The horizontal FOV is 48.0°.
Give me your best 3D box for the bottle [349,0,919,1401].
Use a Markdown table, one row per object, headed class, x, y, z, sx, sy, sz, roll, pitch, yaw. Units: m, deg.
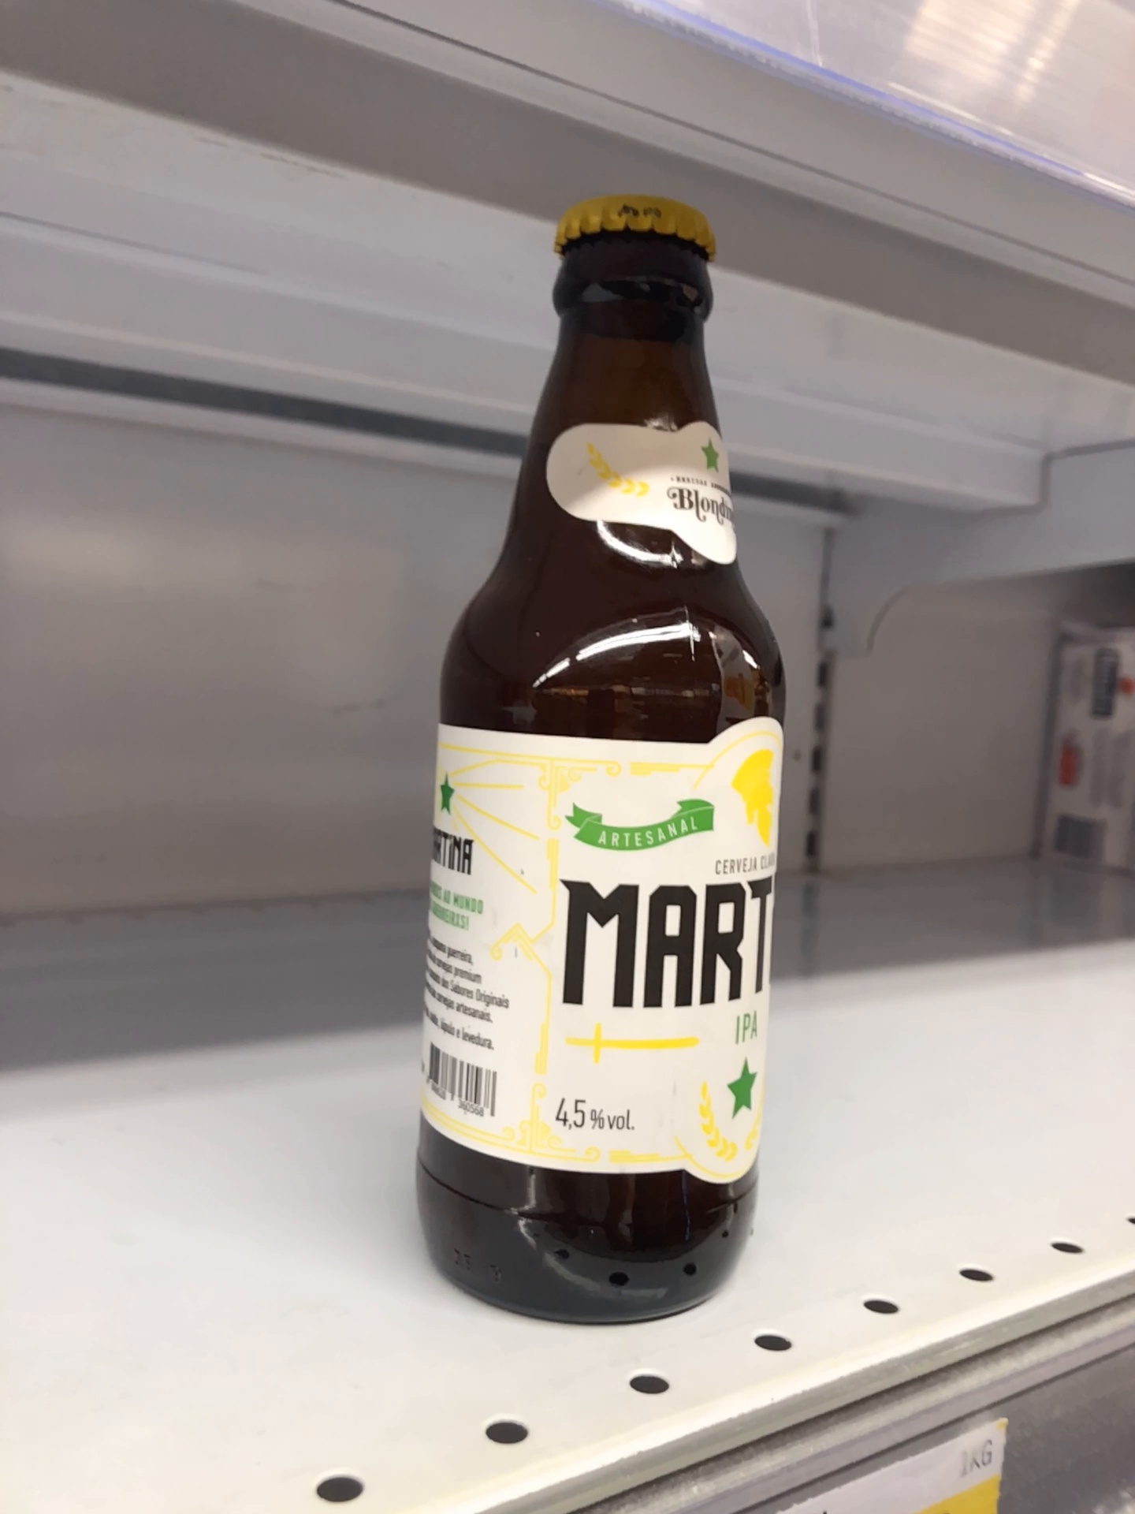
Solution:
| class | x | y | z | sx | sy | sz | roll | pitch | yaw |
| --- | --- | --- | --- | --- | --- | --- | --- | --- | --- |
| bottle | 0.013 | -0.010 | 0.216 | 0.060 | 0.190 | 0.070 | 5 | 4 | 32 |
